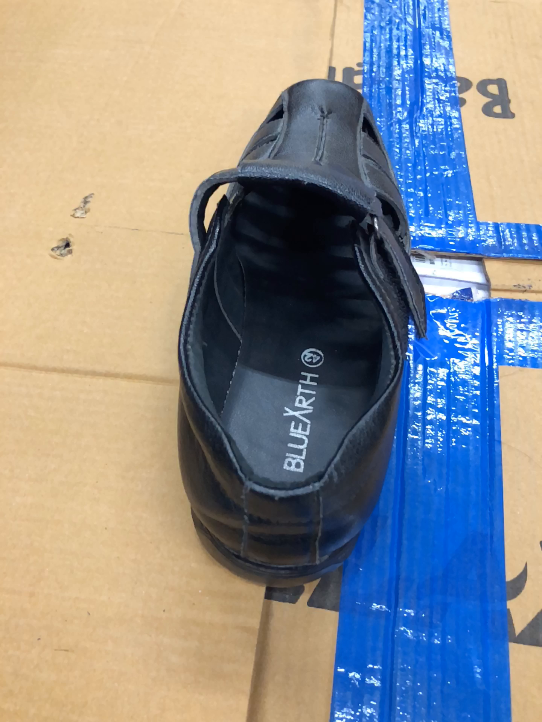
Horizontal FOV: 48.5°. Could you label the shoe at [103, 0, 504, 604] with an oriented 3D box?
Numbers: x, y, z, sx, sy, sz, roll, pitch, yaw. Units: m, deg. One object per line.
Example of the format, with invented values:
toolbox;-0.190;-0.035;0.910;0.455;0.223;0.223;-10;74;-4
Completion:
shoe;0.022;-0.065;0.273;0.100;0.097;0.305;5;58;3
